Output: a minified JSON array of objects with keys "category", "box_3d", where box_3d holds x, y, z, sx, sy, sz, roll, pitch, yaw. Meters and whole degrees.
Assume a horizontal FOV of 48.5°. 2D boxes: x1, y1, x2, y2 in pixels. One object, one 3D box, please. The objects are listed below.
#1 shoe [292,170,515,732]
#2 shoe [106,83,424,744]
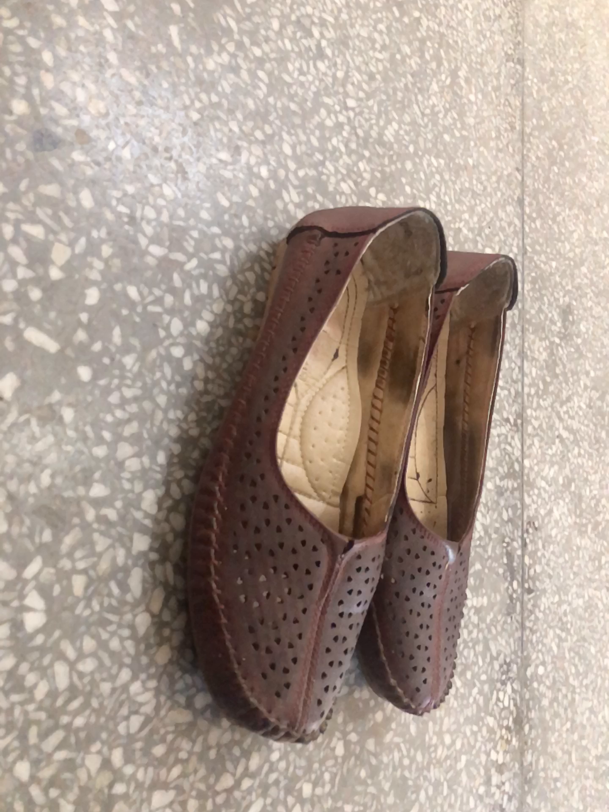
[{"category":"shoe","box_3d":[0.055,0.020,0.344,0.090,0.060,0.250,19,68,-43]},{"category":"shoe","box_3d":[-0.005,0.001,0.292,0.090,0.060,0.250,24,65,-42]}]
